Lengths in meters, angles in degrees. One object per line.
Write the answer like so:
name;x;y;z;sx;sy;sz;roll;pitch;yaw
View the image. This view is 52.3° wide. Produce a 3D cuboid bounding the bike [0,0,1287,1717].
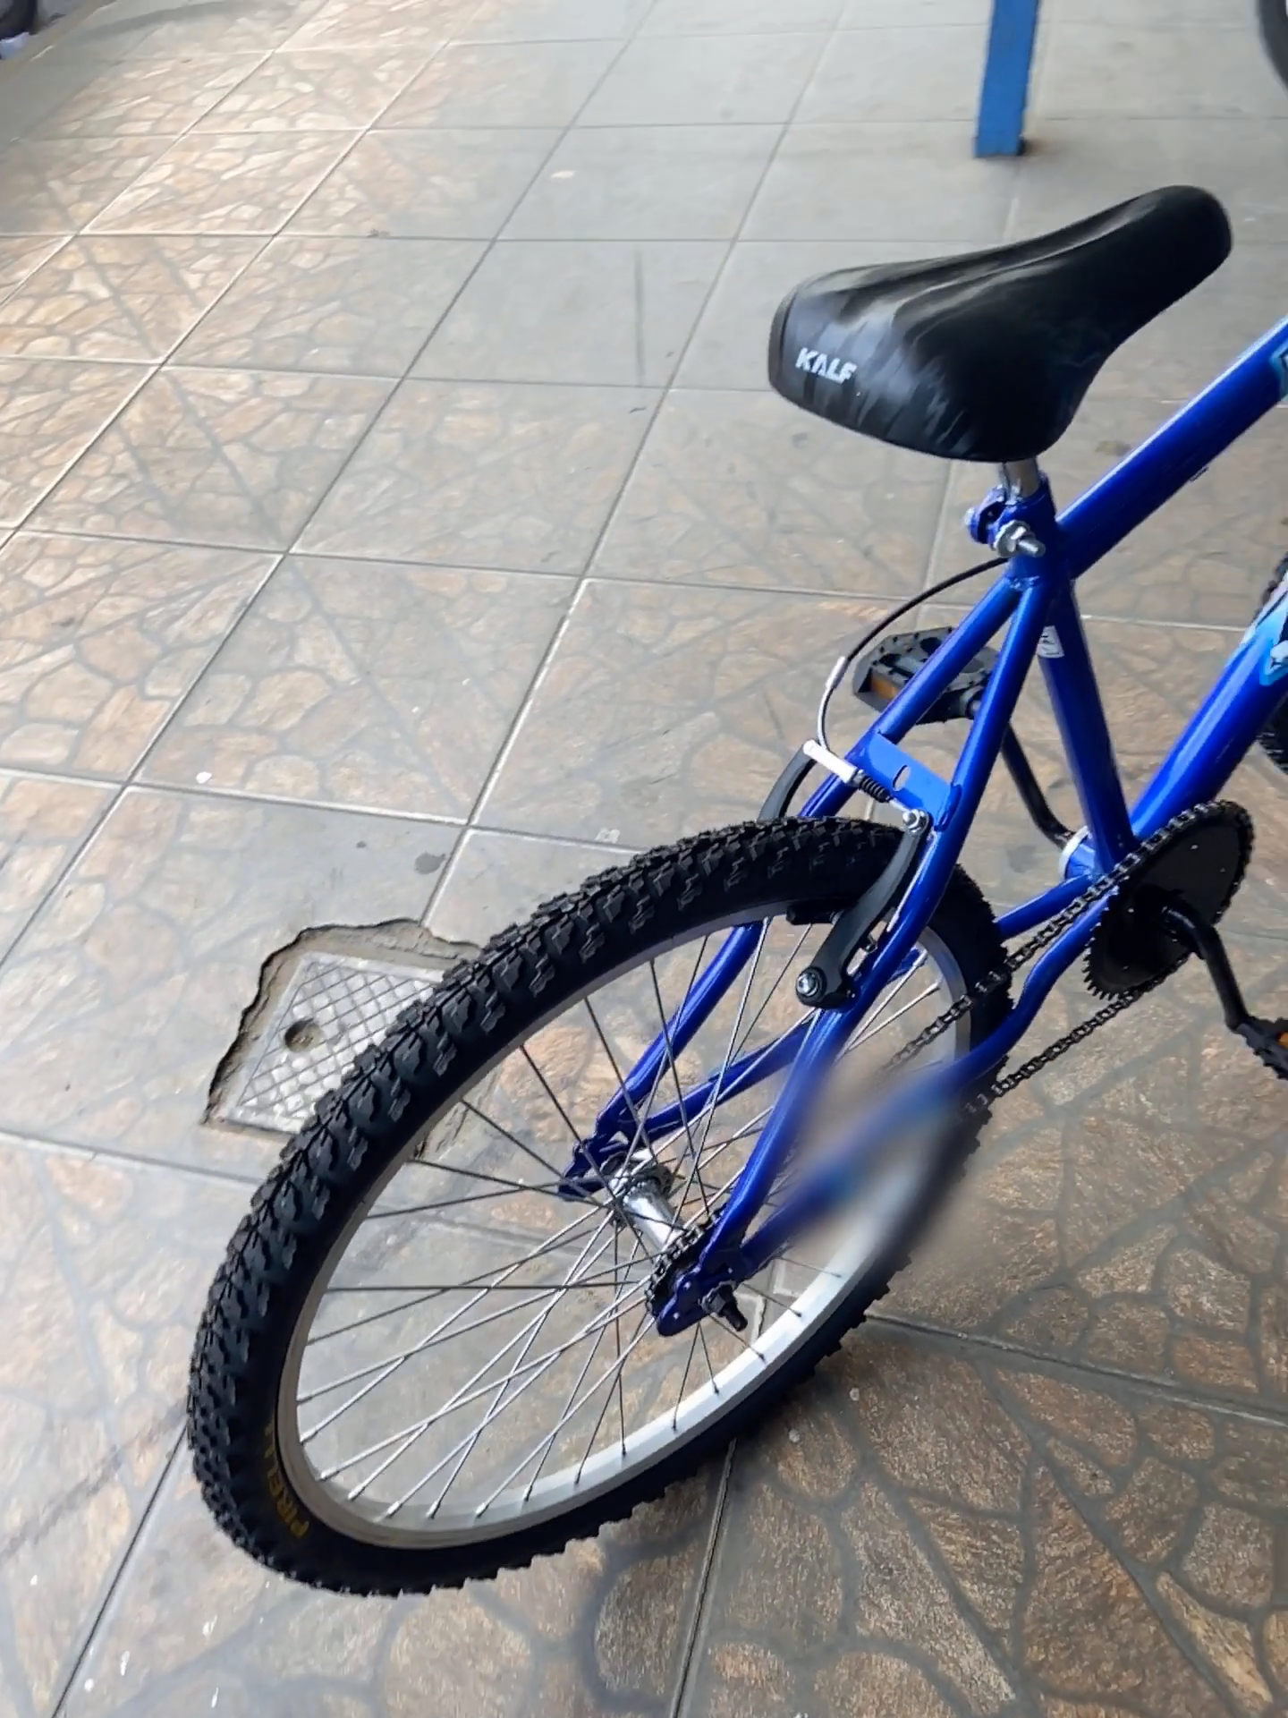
bike;0.359;-0.113;0.782;1.488;0.924;0.624;-30;54;-13
